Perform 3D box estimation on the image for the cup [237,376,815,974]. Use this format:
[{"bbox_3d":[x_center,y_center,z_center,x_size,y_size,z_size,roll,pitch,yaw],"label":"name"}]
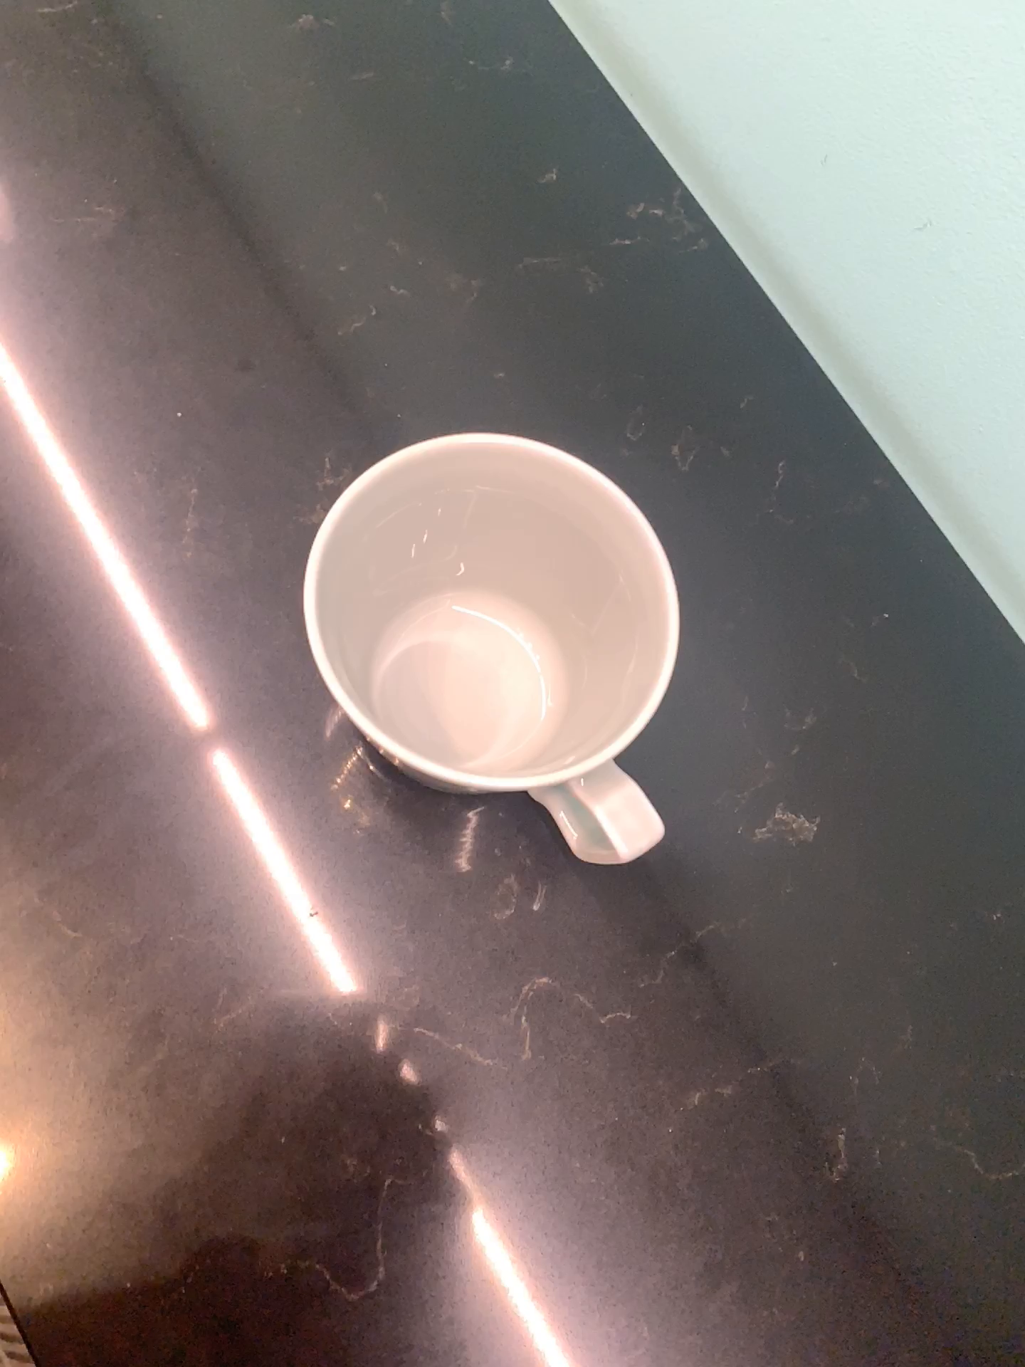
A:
[{"bbox_3d":[-0.001,0.001,0.315,0.100,0.080,0.130,-29,79,-15],"label":"cup"}]
